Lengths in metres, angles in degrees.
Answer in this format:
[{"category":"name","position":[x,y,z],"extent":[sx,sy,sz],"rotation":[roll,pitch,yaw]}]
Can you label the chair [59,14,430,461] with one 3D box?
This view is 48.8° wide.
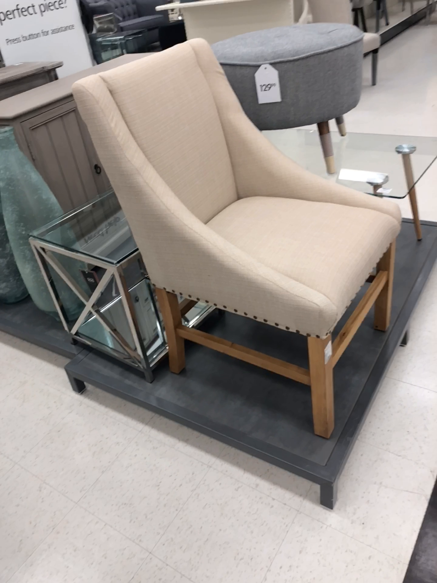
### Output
[{"category":"chair","position":[0.142,-0.173,1.392],"extent":[0.651,0.966,0.611],"rotation":[14,40,30]}]
